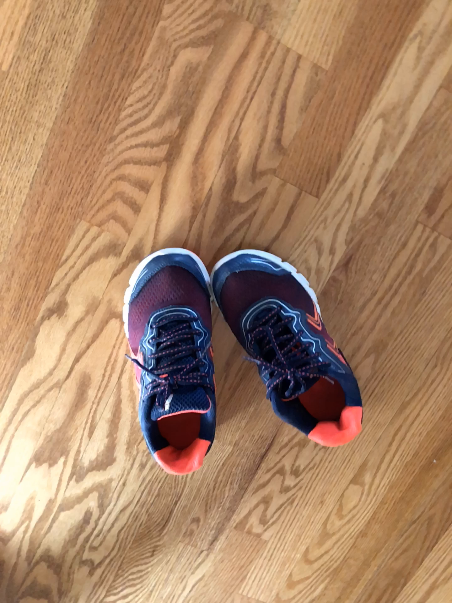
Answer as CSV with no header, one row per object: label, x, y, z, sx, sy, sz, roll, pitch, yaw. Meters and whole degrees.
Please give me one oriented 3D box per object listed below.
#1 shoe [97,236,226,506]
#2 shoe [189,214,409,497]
shoe,-0.063,0.073,0.553,0.108,0.110,0.270,-4,108,-3
shoe,0.079,0.059,0.559,0.116,0.110,0.278,-29,107,5
